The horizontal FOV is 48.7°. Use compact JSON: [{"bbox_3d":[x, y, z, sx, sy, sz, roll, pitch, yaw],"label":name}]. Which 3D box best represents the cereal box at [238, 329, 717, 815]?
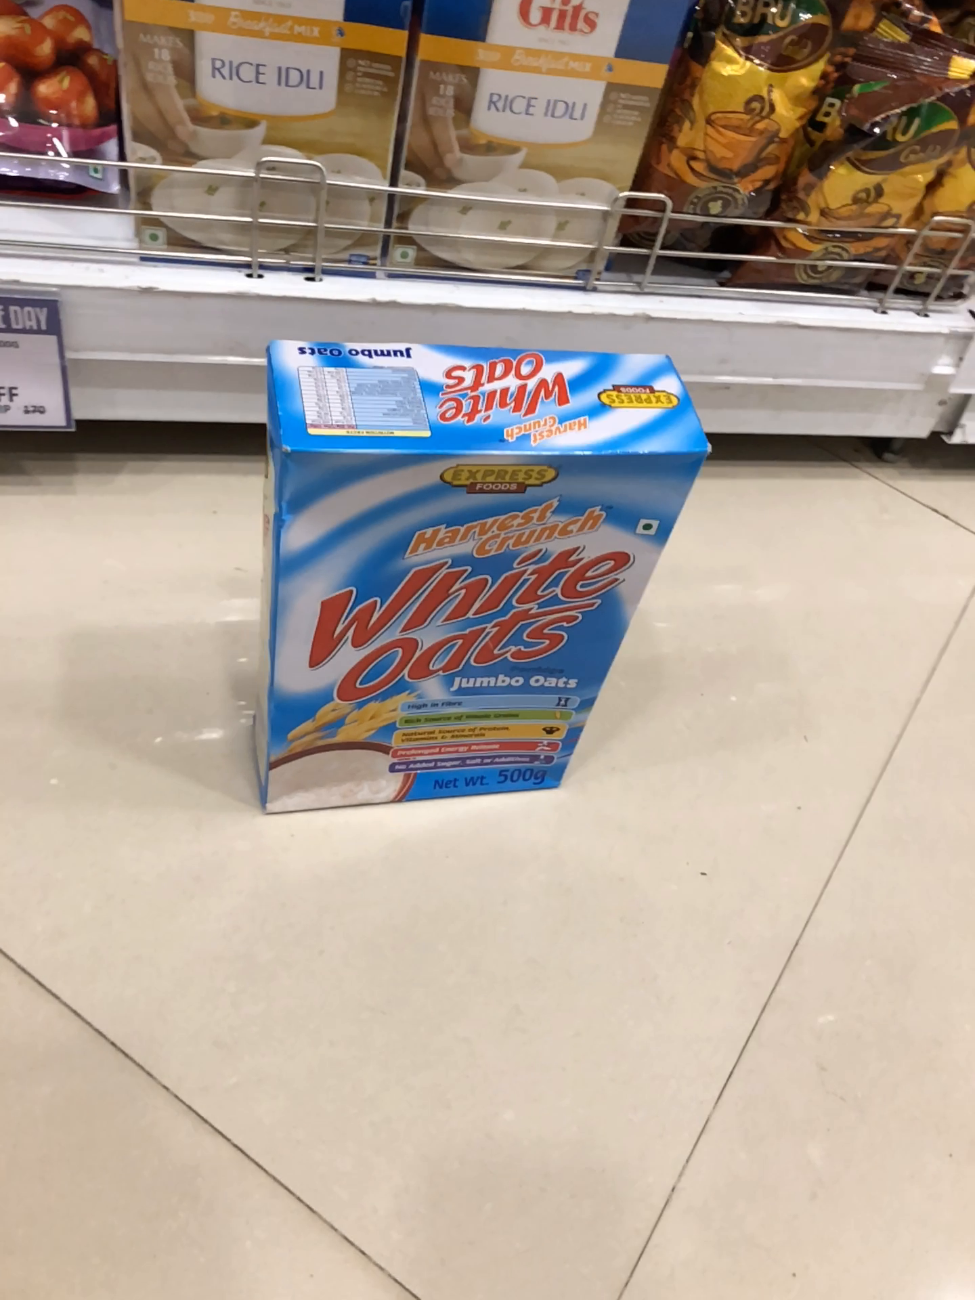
[{"bbox_3d":[-0.022,-0.019,0.444,0.150,0.219,0.060,-3,53,-16],"label":"cereal box"}]
